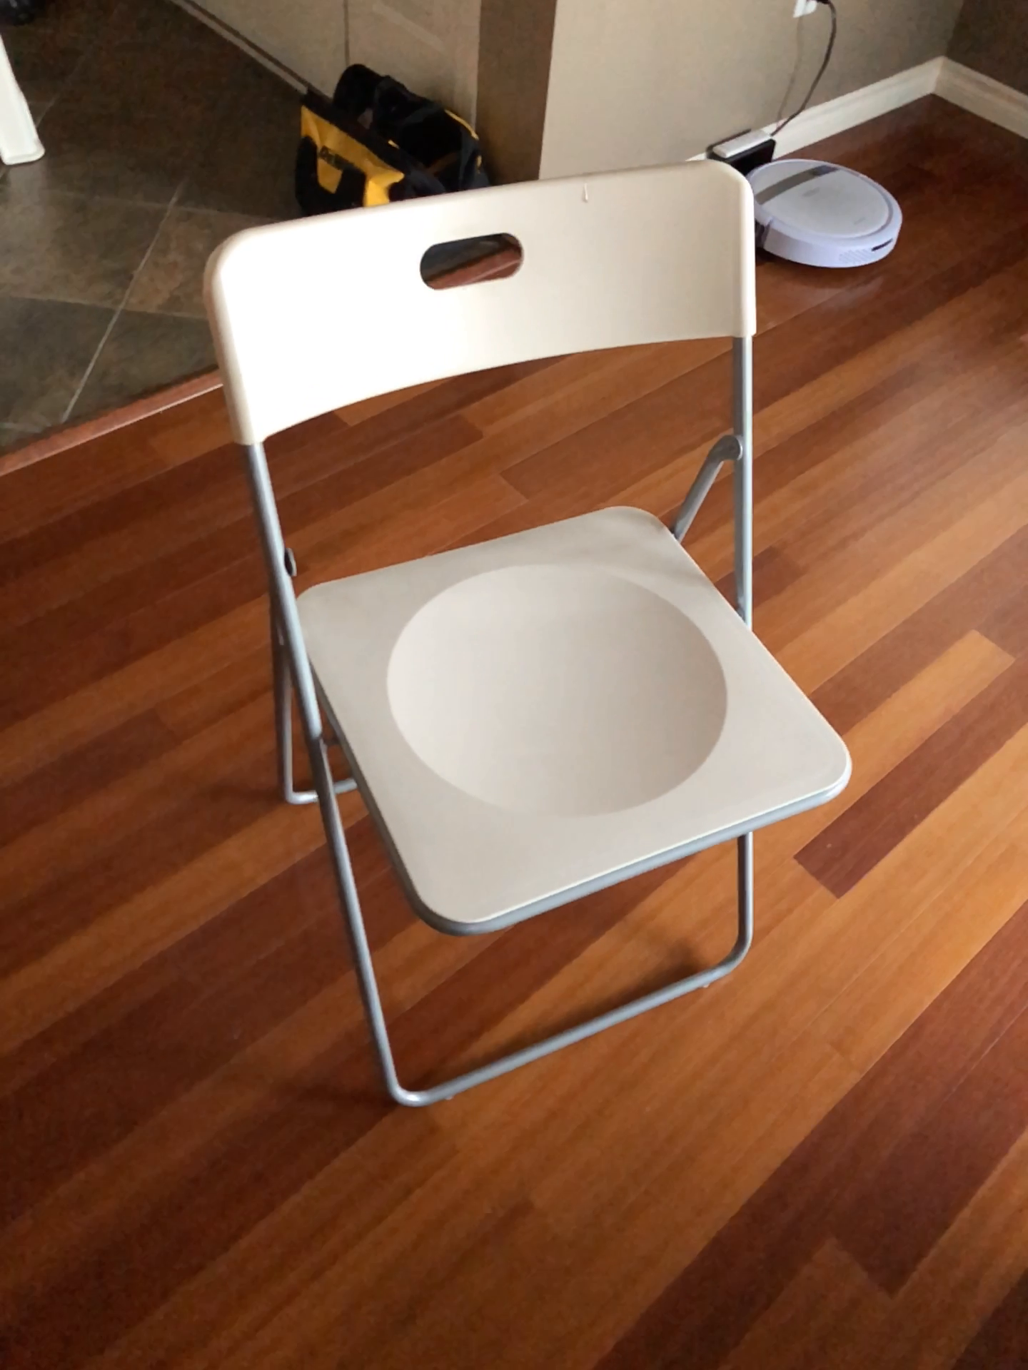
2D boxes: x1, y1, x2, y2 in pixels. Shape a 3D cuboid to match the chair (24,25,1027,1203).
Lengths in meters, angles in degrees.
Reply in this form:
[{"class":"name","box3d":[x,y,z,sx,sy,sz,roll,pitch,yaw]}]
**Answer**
[{"class":"chair","box3d":[-0.007,-0.051,0.838,0.460,0.577,0.543,-17,55,-18]}]
